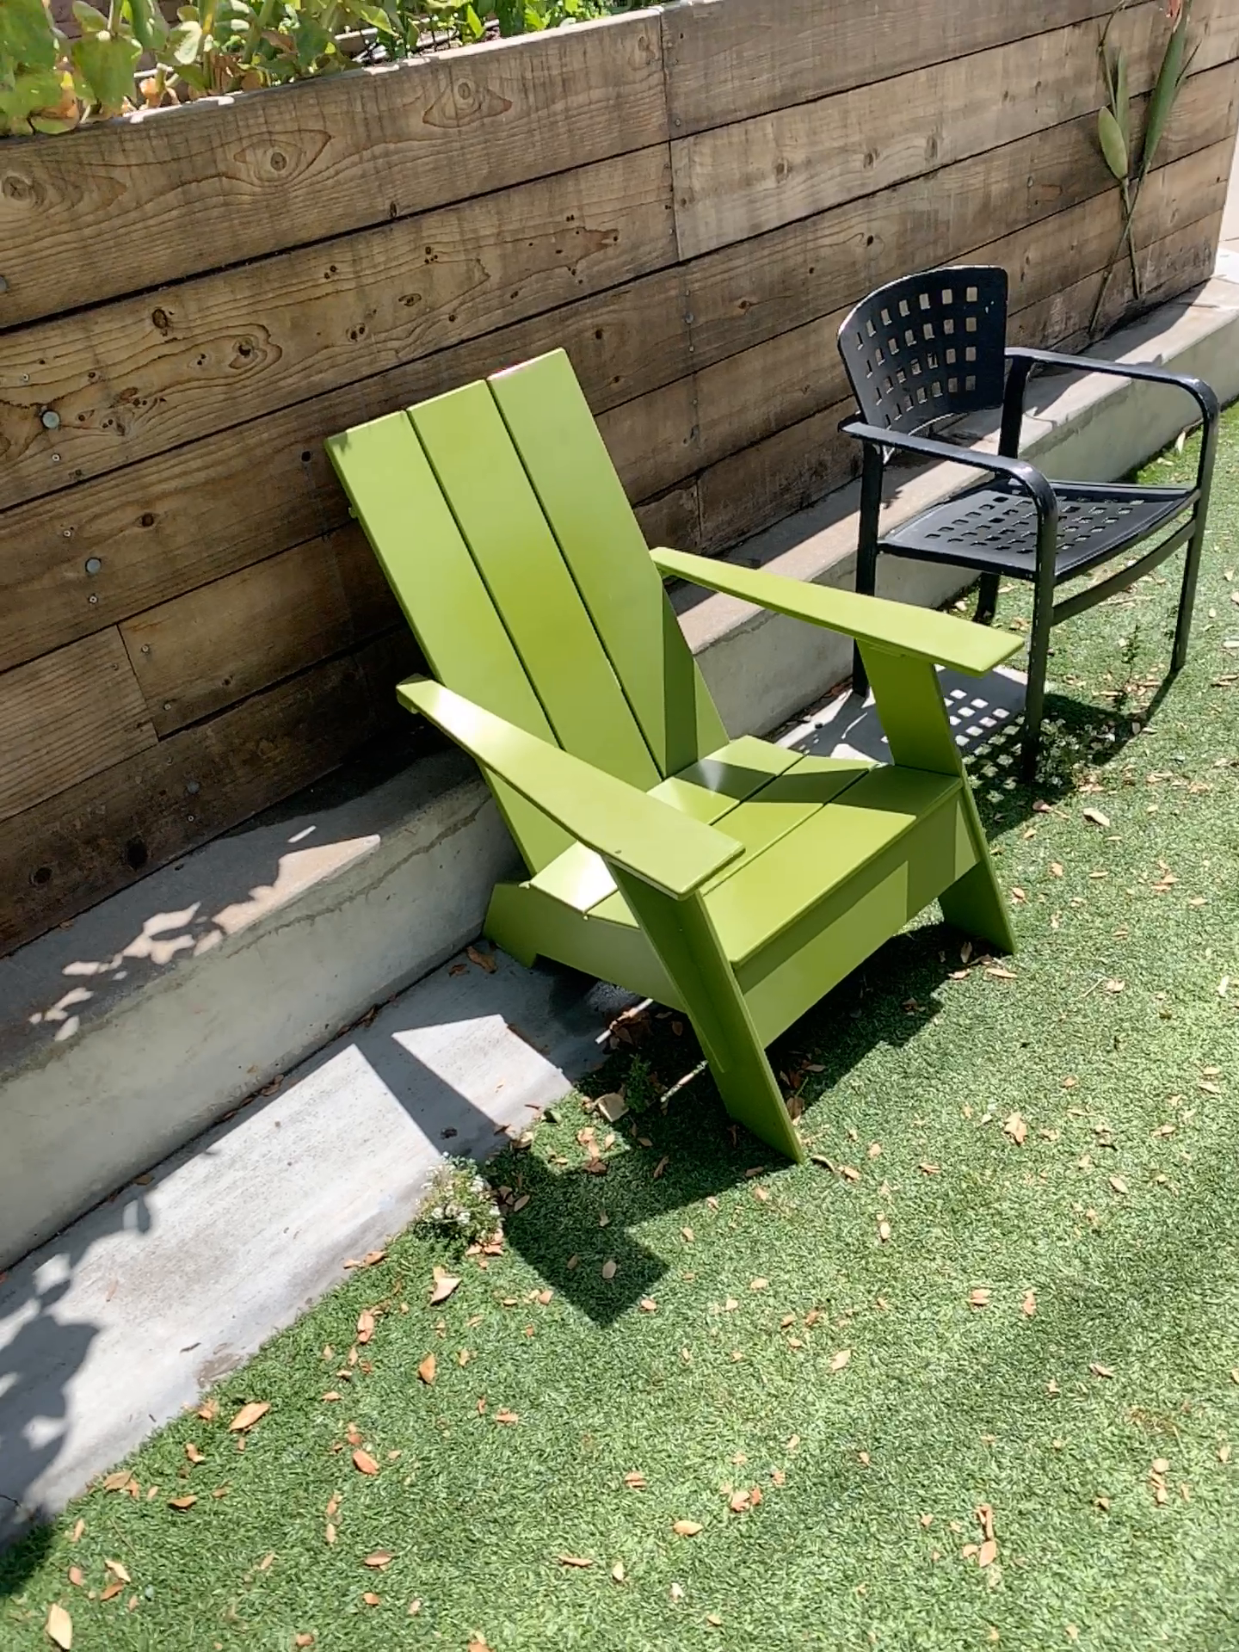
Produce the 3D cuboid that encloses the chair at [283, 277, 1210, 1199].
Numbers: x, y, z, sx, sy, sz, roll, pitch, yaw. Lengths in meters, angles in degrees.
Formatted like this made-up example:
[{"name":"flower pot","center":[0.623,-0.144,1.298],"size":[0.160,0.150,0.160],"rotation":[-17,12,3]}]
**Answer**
[{"name":"chair","center":[0.161,-0.205,1.825],"size":[0.721,0.845,0.904],"rotation":[-32,44,-30]}]
